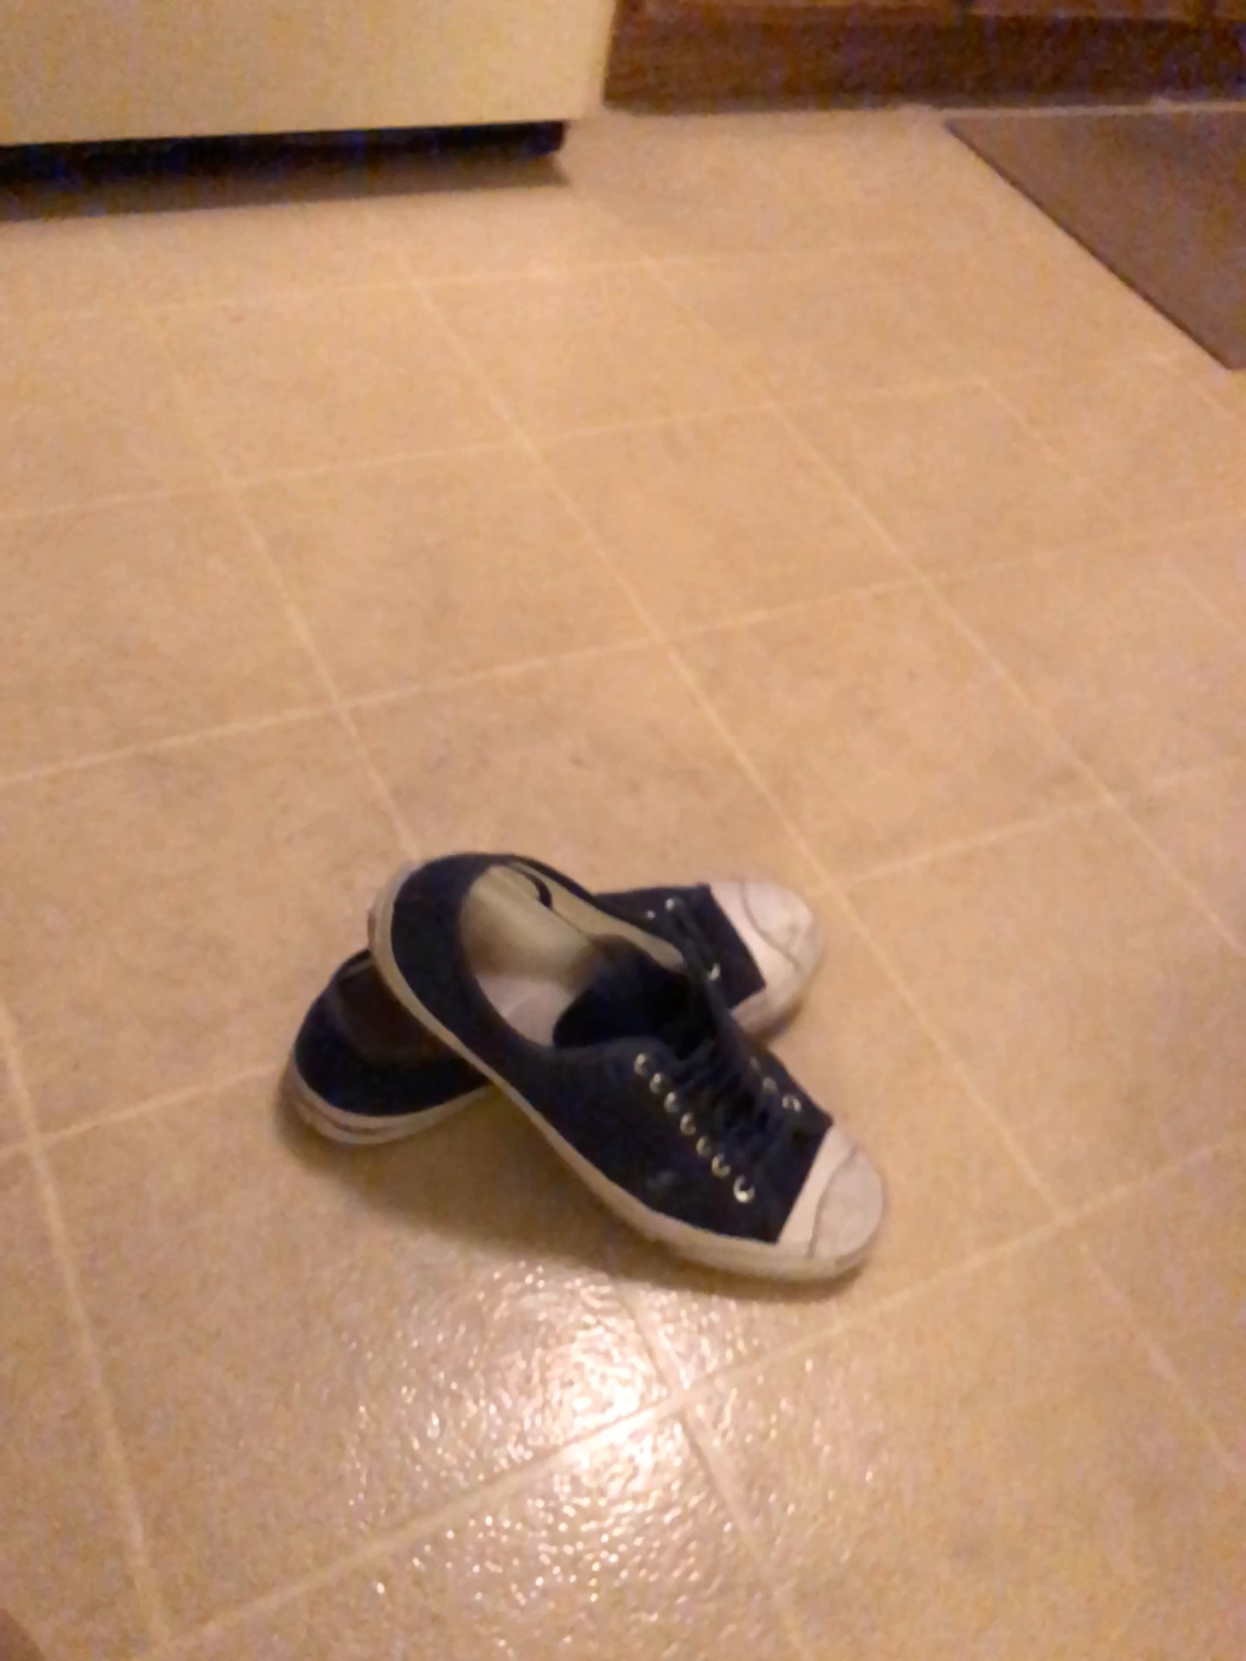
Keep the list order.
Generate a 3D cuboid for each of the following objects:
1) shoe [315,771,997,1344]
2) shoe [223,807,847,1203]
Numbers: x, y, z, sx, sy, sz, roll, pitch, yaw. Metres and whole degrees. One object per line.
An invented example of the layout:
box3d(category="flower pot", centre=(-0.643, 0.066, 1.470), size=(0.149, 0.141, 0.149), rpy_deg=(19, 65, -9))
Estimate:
box3d(category="shoe", centre=(0.017, 0.109, 0.636), size=(0.290, 0.100, 0.100), rpy_deg=(37, 67, -13))
box3d(category="shoe", centre=(-0.040, 0.079, 0.708), size=(0.291, 0.080, 0.110), rpy_deg=(-12, 58, -31))
